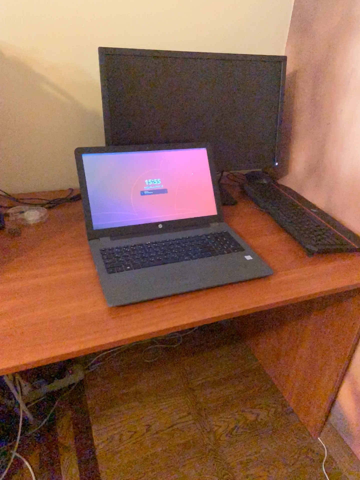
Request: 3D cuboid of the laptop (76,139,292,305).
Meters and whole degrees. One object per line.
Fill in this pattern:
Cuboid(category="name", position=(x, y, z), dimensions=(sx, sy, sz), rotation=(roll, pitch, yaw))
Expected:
Cuboid(category="laptop", position=(-0.023, -0.079, 0.851), dimensions=(0.366, 0.181, 0.376), rotation=(-8, 34, -20))
